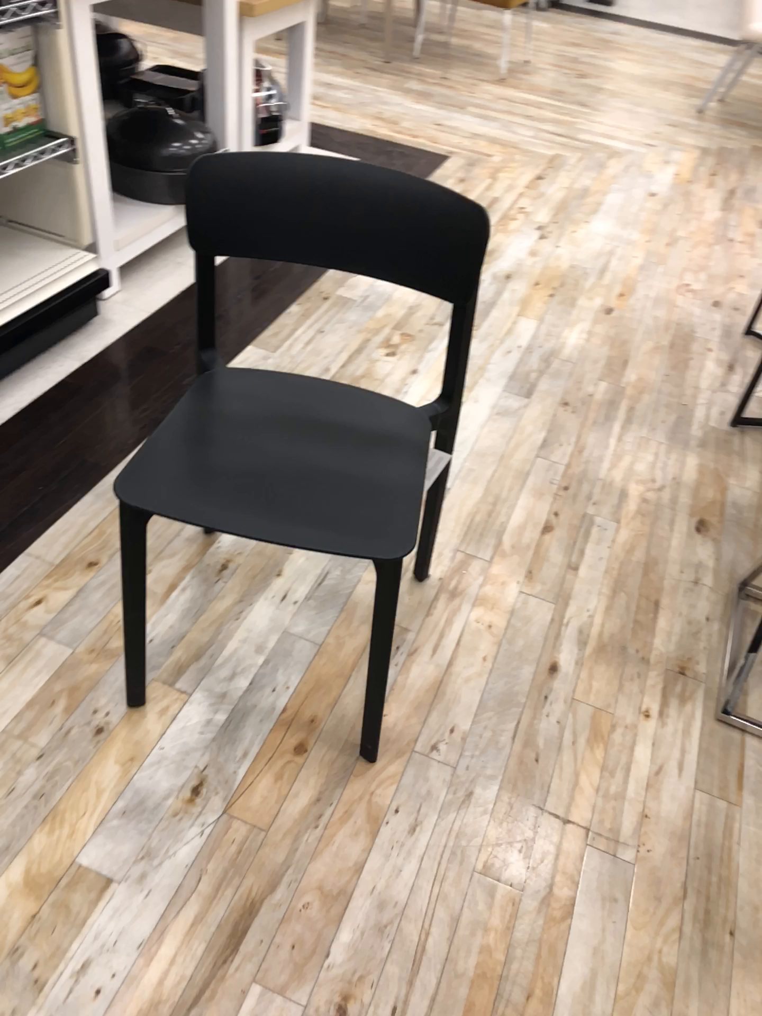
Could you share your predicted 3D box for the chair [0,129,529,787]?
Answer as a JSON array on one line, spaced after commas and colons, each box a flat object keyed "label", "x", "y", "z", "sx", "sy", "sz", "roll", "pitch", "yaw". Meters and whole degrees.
[{"label": "chair", "x": -0.120, "y": -0.070, "z": 1.236, "sx": 0.500, "sy": 0.707, "sz": 0.542, "roll": 12, "pitch": 41, "yaw": 4}]
